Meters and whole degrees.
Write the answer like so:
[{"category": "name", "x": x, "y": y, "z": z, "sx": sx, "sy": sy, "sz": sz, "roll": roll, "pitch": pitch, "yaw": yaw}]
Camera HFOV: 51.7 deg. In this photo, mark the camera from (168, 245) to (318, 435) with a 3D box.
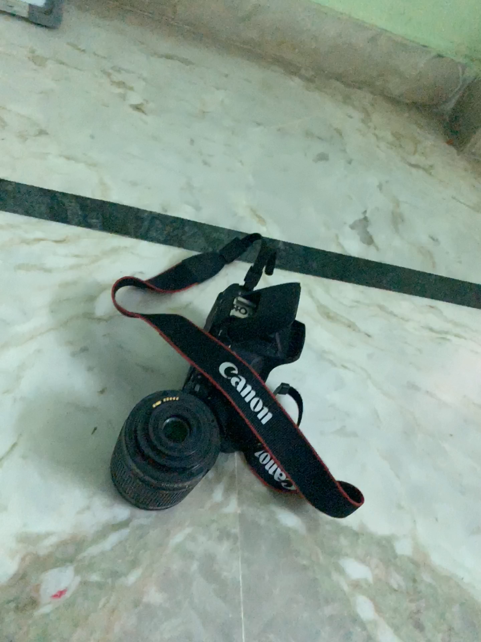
[{"category": "camera", "x": 0.004, "y": 0.015, "z": 0.411, "sx": 0.082, "sy": 0.078, "sz": 0.112, "roll": 22, "pitch": 50, "yaw": -7}]
